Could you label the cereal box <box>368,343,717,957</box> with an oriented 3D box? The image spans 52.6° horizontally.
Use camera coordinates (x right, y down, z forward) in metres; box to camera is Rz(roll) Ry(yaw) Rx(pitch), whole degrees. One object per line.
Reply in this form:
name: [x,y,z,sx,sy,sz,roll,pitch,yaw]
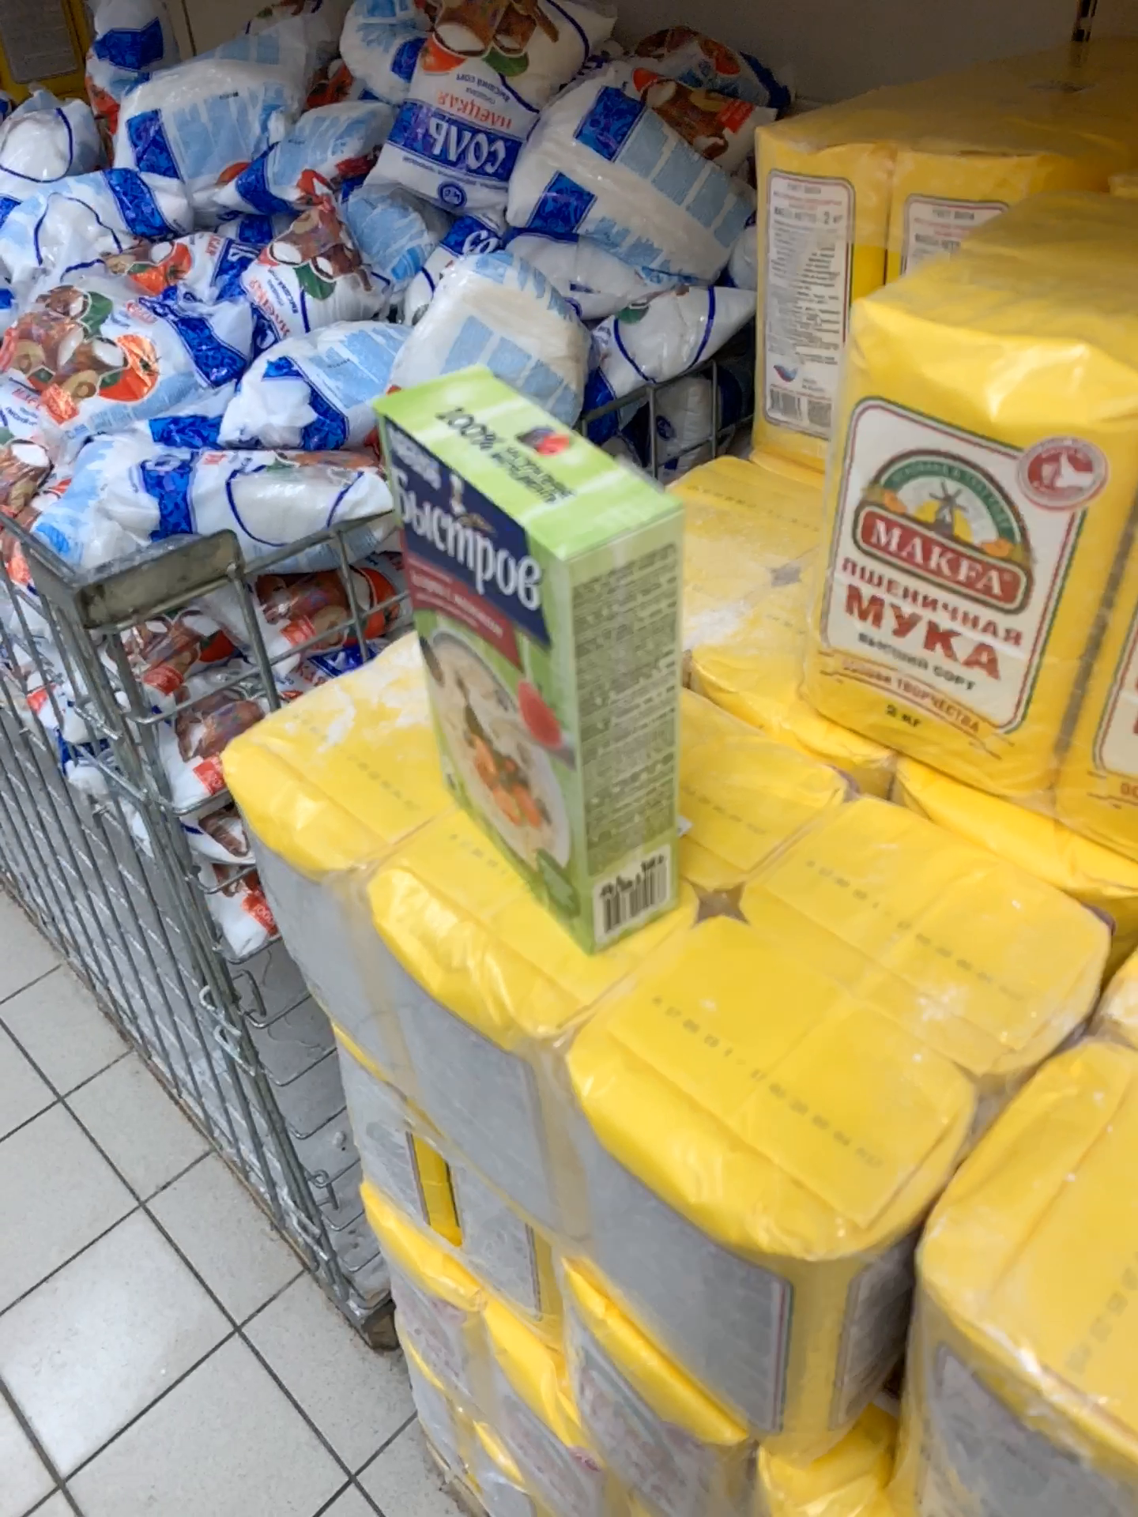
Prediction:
cereal box: [-0.005,-0.035,0.411,0.050,0.178,0.121,-27,48,-20]
